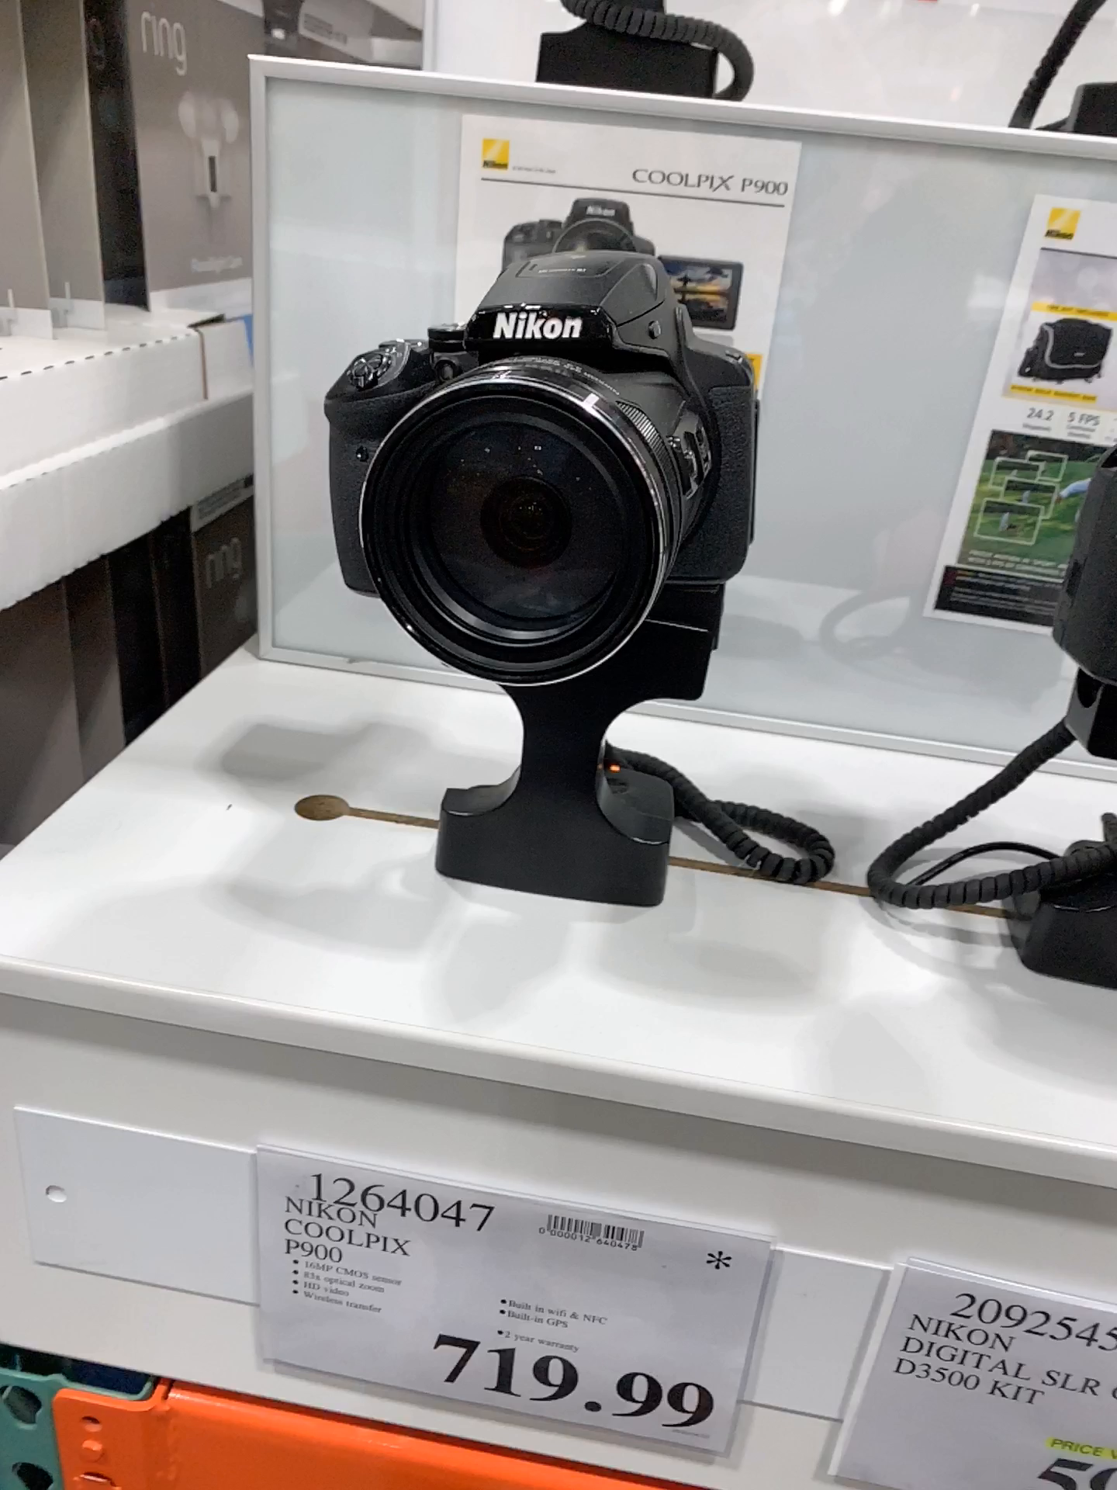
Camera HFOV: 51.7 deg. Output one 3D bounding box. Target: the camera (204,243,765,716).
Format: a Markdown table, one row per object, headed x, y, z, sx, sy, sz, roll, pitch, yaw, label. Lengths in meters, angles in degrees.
| x | y | z | sx | sy | sz | roll | pitch | yaw | label |
| --- | --- | --- | --- | --- | --- | --- | --- | --- | --- |
| -0.009 | -0.095 | 0.361 | 0.130 | 0.109 | 0.151 | 6 | 25 | 10 | camera |
